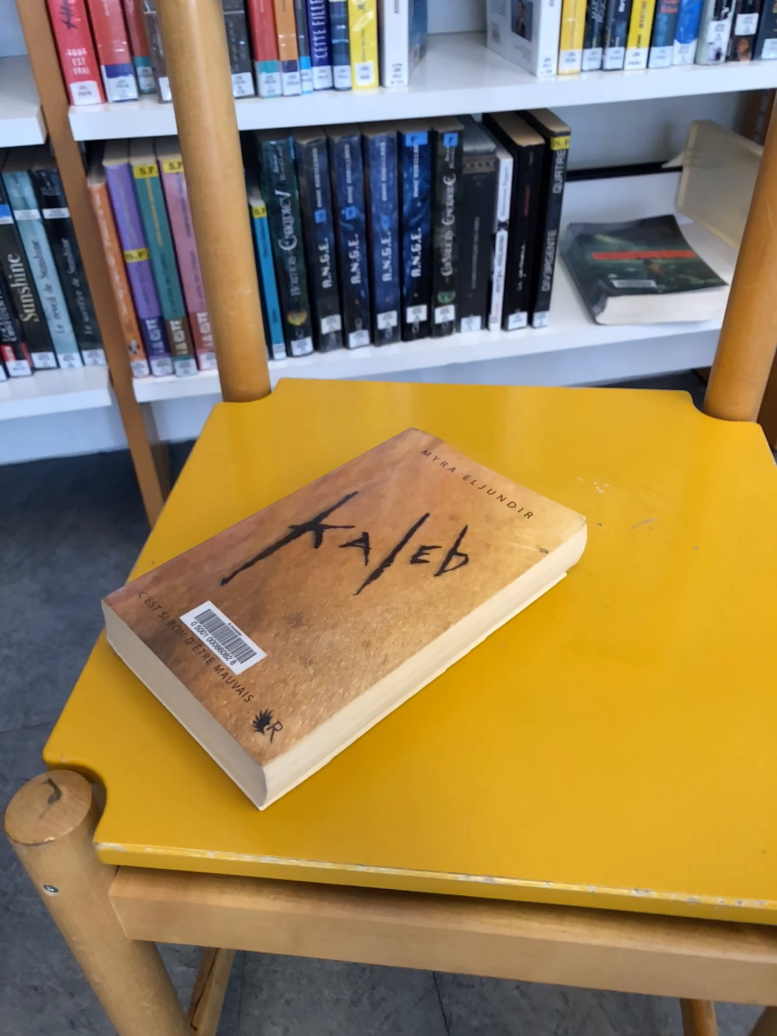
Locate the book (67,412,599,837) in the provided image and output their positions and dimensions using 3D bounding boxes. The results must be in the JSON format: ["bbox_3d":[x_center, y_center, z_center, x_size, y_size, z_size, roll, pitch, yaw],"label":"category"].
[{"bbox_3d":[-0.023,0.033,0.444,0.224,0.043,0.149,-30,47,-31],"label":"book"}]
